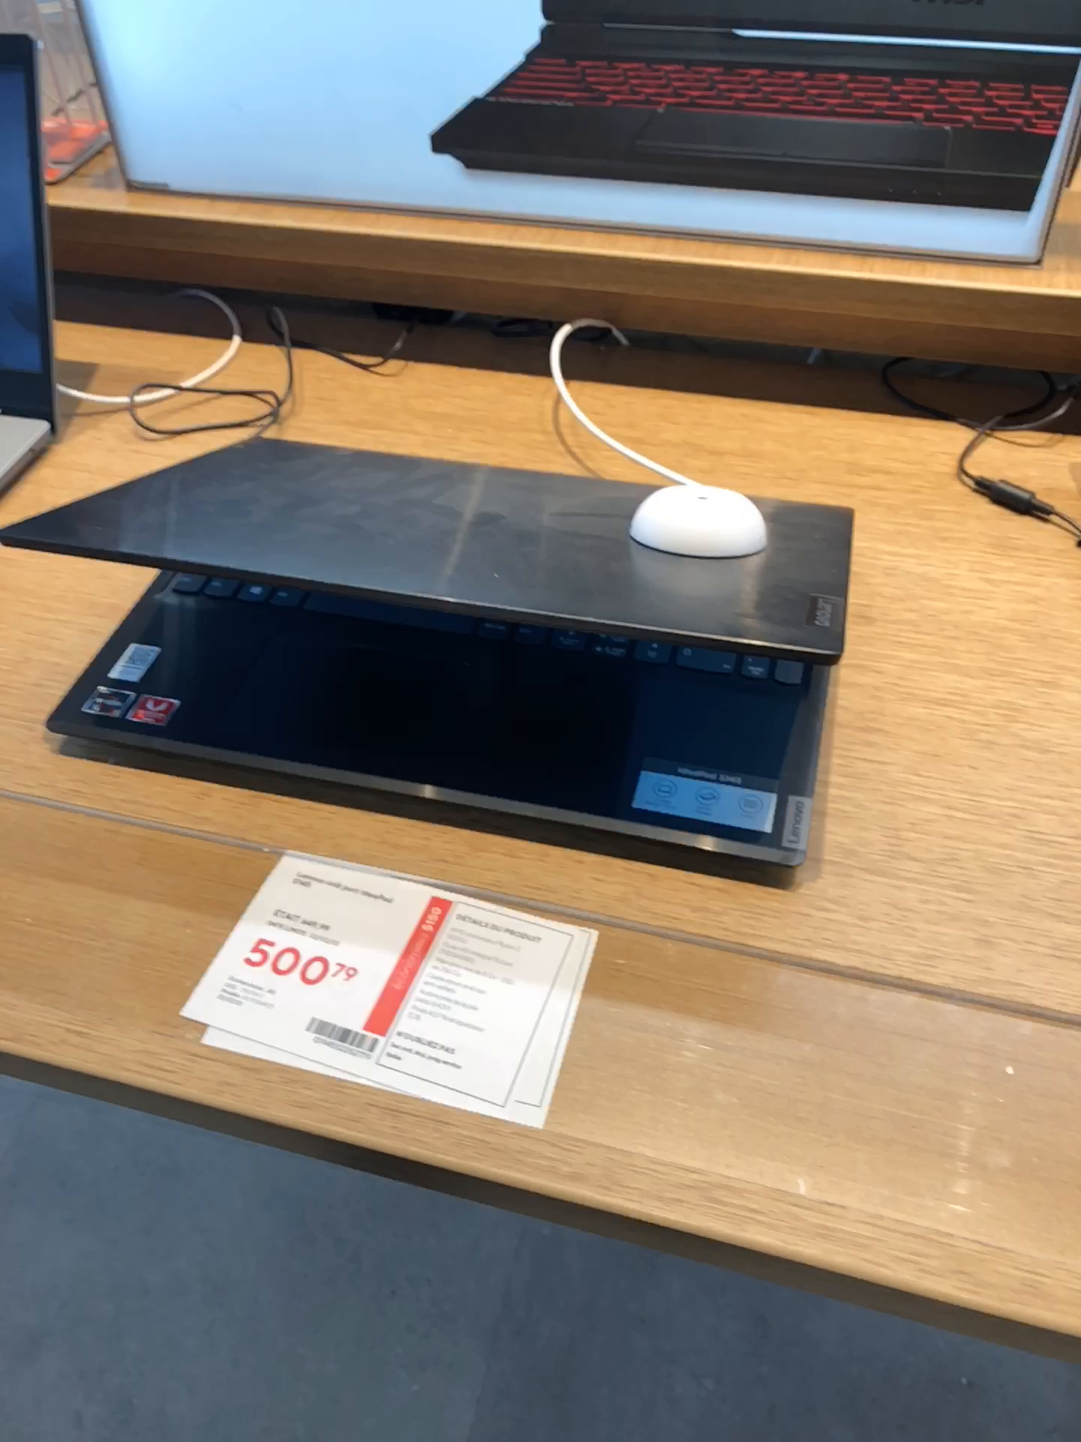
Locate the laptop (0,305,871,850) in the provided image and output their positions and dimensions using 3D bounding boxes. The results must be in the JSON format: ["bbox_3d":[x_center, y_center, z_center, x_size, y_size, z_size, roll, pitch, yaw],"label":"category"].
[{"bbox_3d":[-0.030,-0.082,0.555,0.330,0.083,0.224,9,48,9],"label":"laptop"}]
